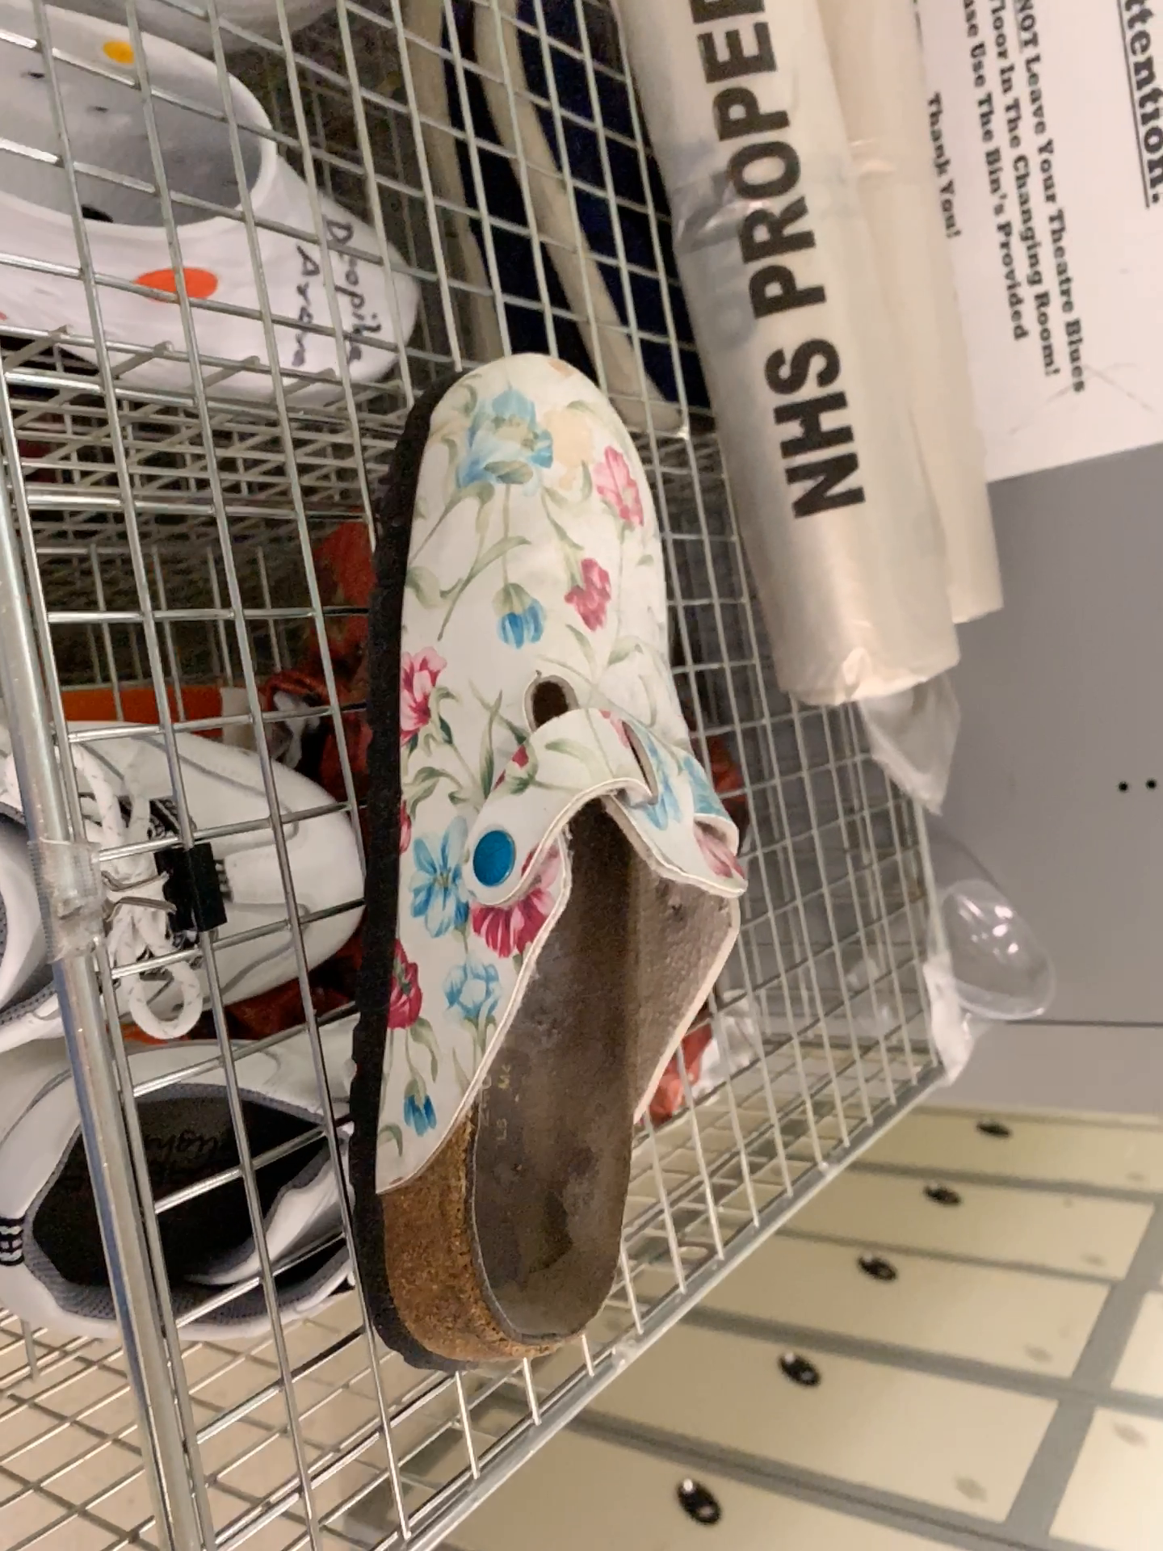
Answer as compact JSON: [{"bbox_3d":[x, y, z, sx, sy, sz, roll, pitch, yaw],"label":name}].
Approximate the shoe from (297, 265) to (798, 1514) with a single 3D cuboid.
[{"bbox_3d":[-0.001,0.022,0.310,0.101,0.069,0.259,15,73,-50],"label":"shoe"}]
